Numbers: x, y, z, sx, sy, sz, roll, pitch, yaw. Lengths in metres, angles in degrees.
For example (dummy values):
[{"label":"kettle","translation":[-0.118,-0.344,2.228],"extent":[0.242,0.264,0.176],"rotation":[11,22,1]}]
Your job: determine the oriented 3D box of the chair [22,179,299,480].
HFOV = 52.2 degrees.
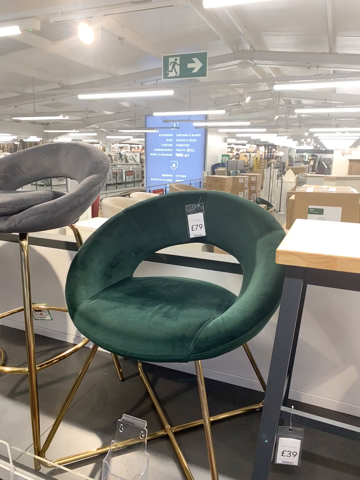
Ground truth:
[{"label":"chair","translation":[-0.012,0.228,1.144],"extent":[0.630,0.773,0.556],"rotation":[6,13,21]}]
